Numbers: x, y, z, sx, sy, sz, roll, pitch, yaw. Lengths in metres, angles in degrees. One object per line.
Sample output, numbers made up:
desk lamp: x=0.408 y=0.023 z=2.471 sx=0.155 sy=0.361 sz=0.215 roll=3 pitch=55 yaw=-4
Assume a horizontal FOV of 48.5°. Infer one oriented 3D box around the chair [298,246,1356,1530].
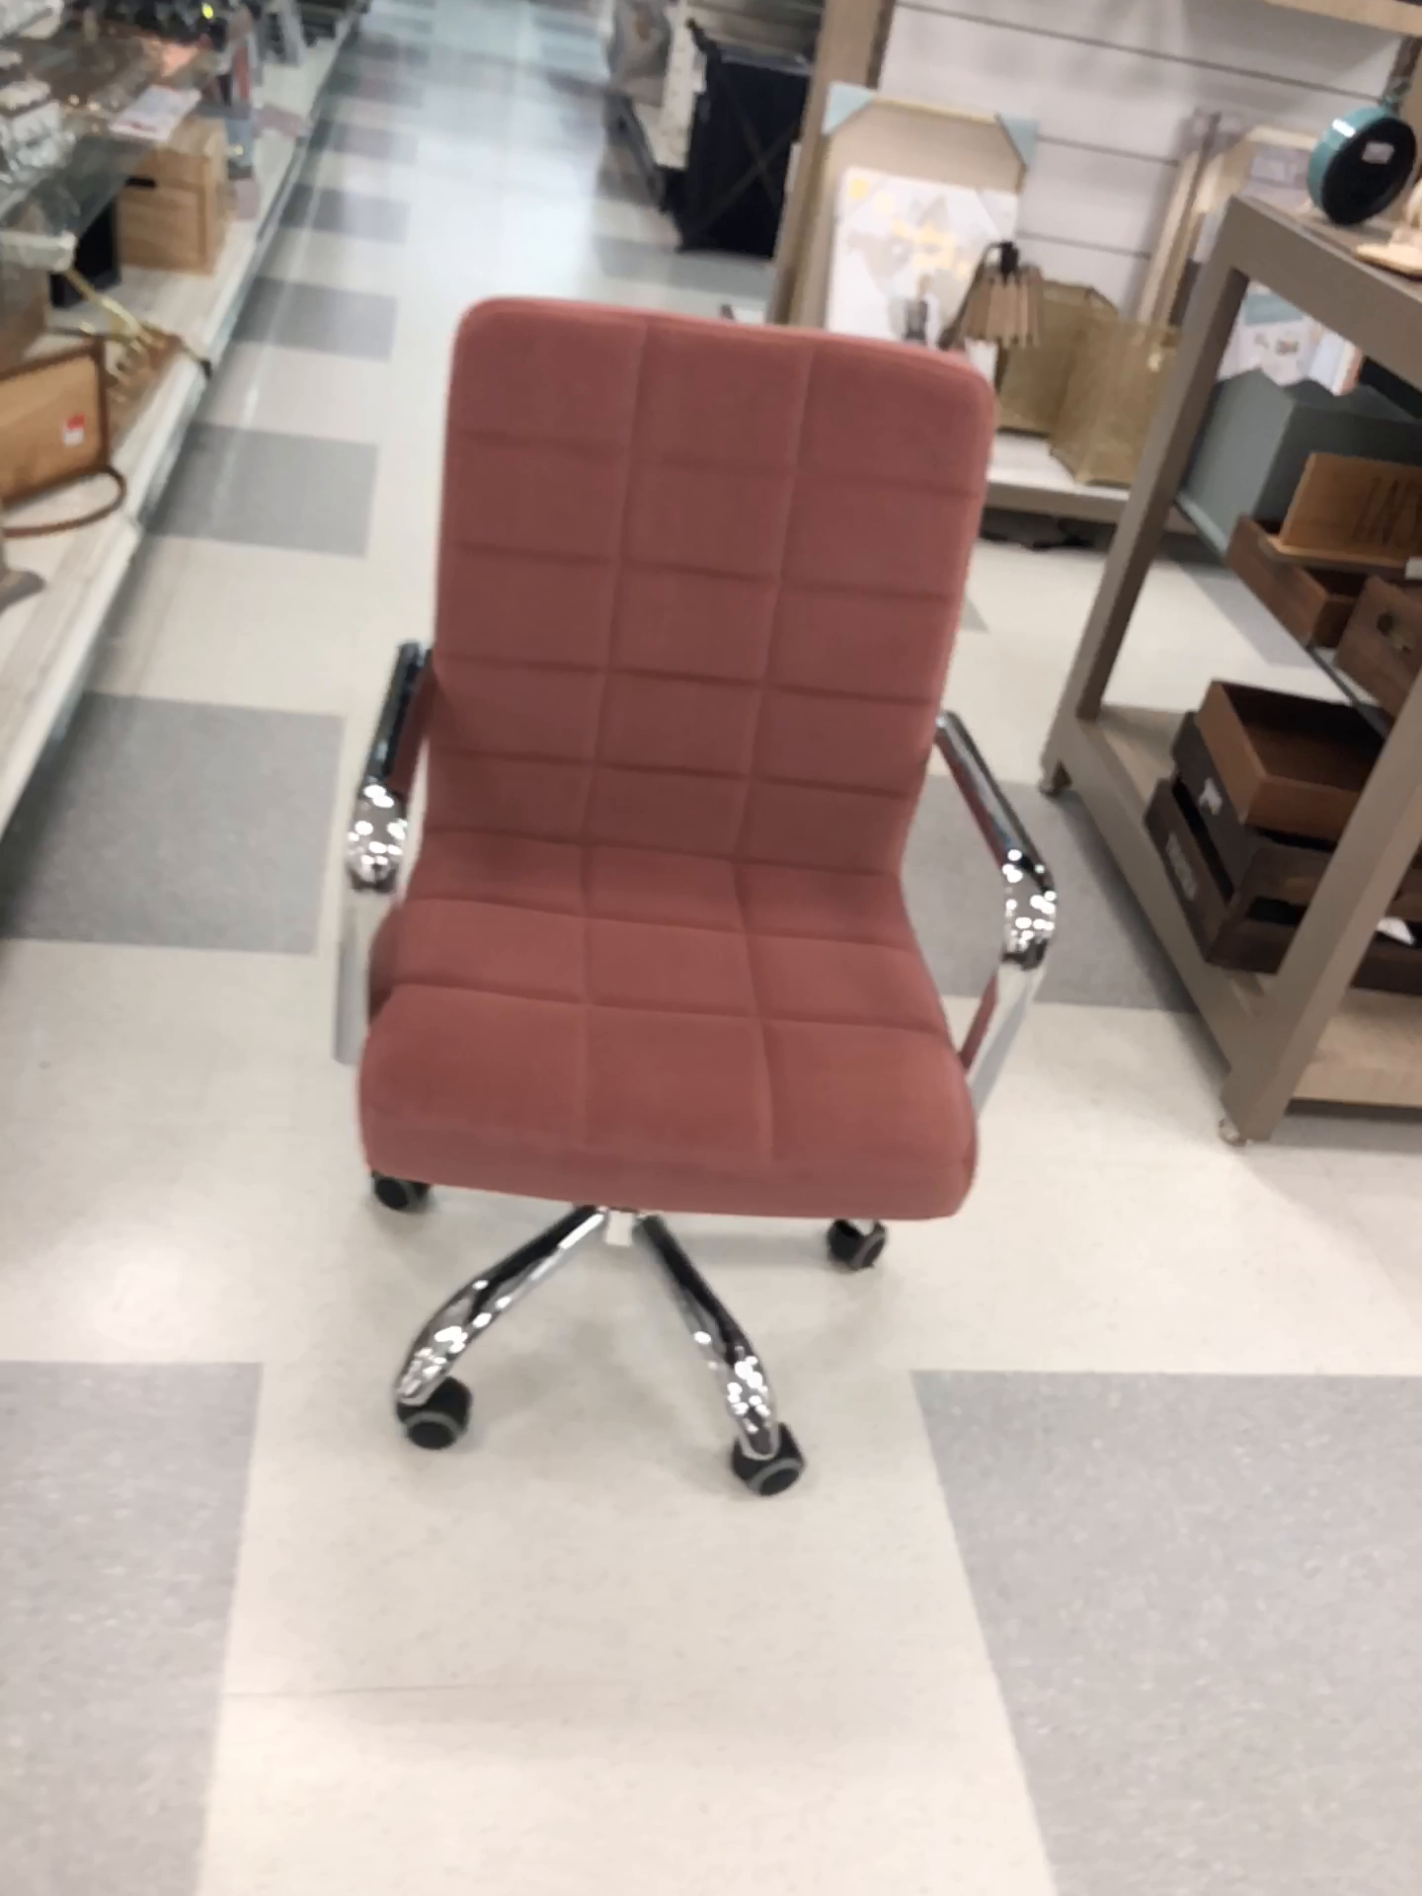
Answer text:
chair: x=-0.005 y=-0.030 z=1.321 sx=0.564 sy=0.842 sz=0.572 roll=6 pitch=35 yaw=-10
